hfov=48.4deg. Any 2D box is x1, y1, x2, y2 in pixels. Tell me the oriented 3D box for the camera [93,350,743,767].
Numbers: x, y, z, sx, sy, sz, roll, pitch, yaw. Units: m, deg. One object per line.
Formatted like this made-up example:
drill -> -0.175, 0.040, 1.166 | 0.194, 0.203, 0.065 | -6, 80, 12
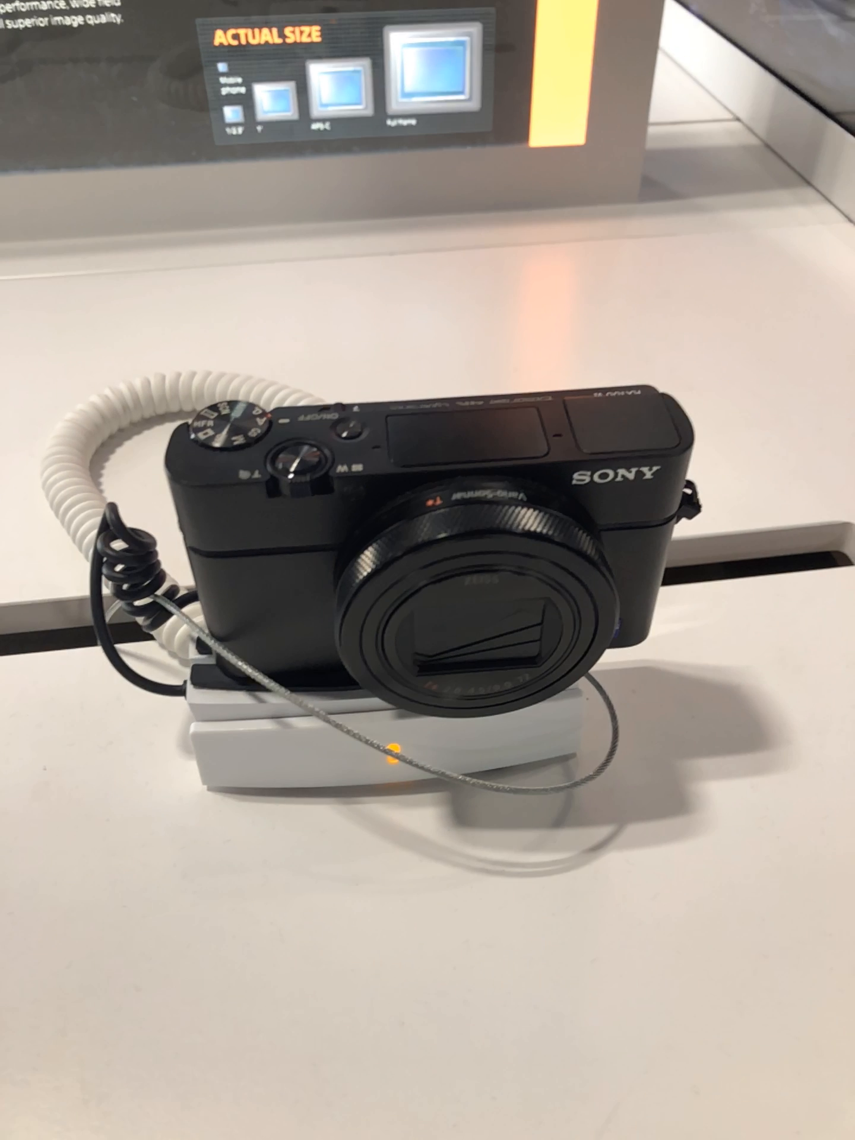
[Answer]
camera -> -0.002, -0.001, 0.198 | 0.110, 0.070, 0.040 | -4, 42, -4
